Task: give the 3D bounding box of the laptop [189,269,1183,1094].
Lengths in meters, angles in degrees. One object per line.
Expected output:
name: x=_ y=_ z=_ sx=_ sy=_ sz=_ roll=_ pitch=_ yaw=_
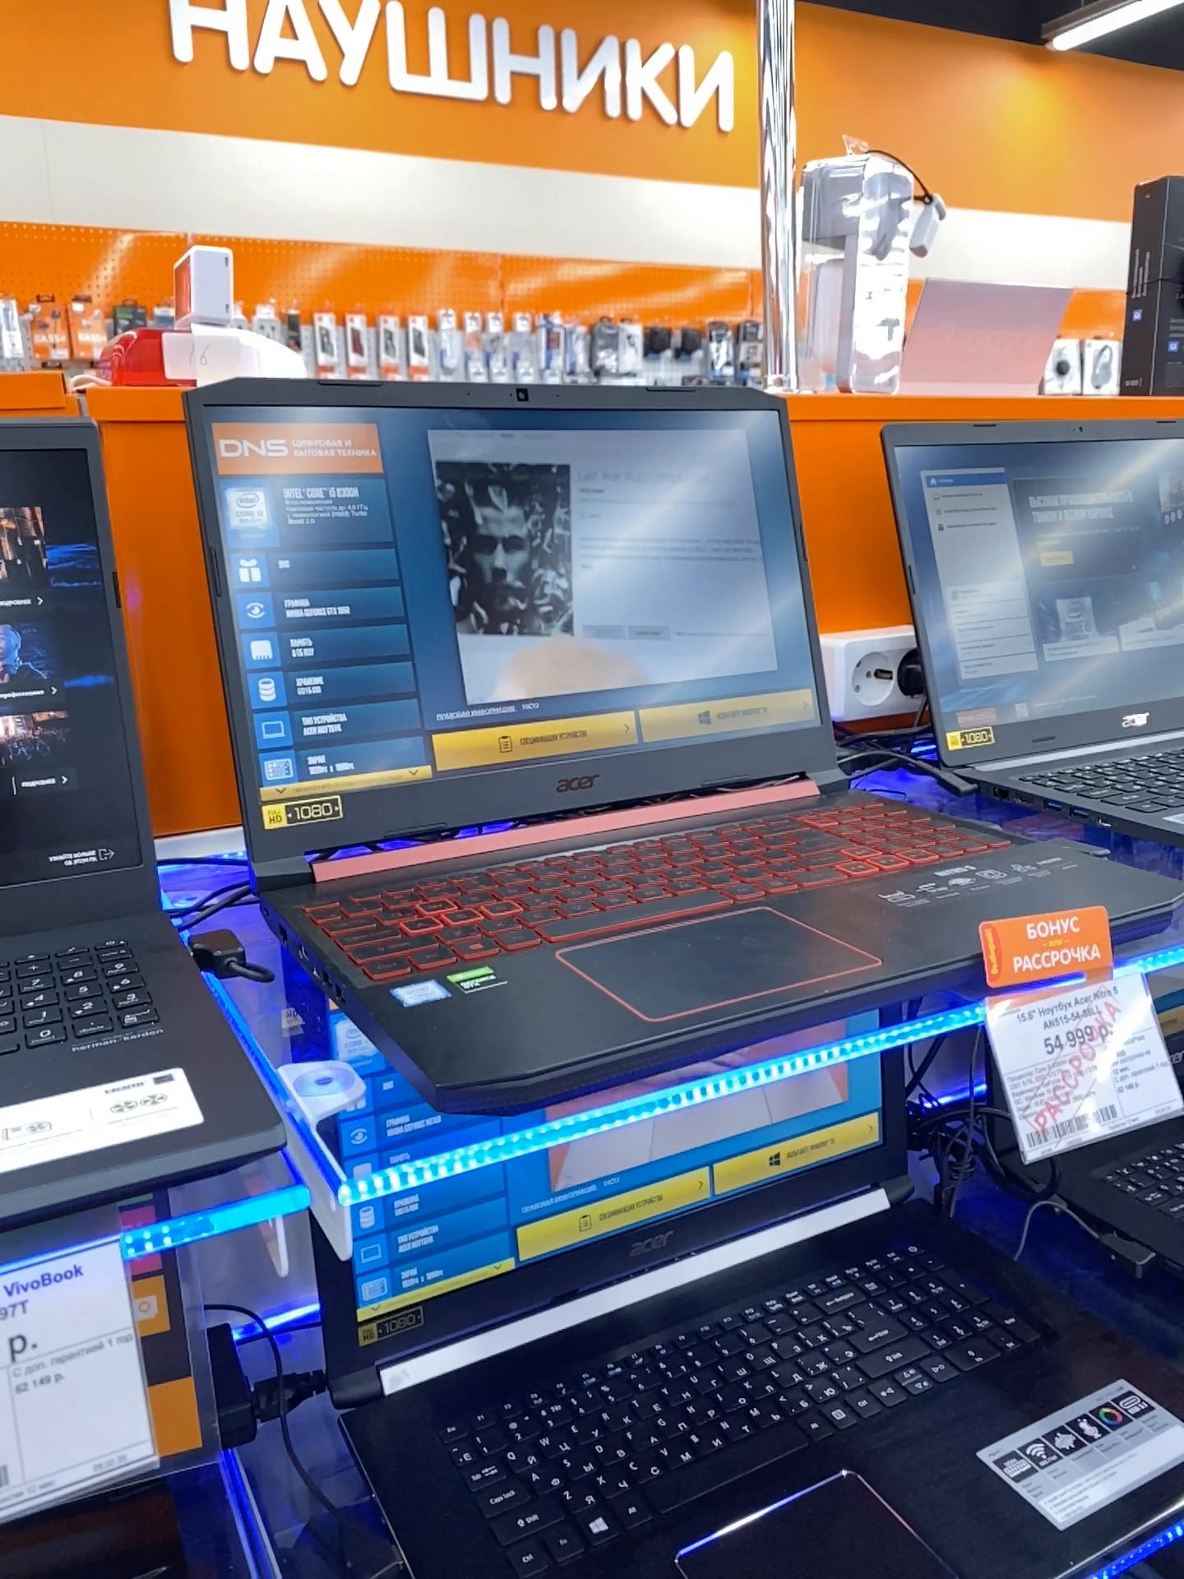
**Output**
laptop: x=0.037 y=-0.072 z=0.565 sx=0.360 sy=0.237 sz=0.303 roll=-8 pitch=14 yaw=-28
